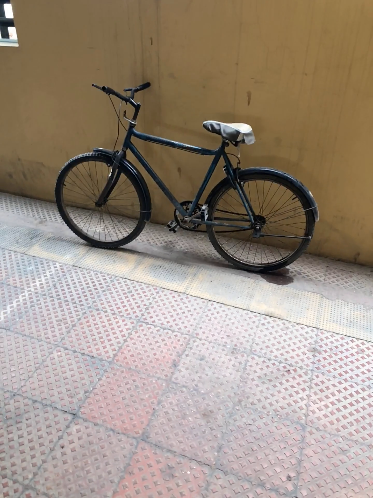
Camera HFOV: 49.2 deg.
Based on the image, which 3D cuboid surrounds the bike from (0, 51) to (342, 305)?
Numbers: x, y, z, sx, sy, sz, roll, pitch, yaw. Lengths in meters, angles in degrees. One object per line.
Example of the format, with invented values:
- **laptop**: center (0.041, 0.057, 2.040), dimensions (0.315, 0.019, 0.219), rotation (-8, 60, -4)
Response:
- **bike**: center (-0.069, -0.412, 2.249), dimensions (1.546, 0.998, 0.544), rotation (11, 34, 10)
